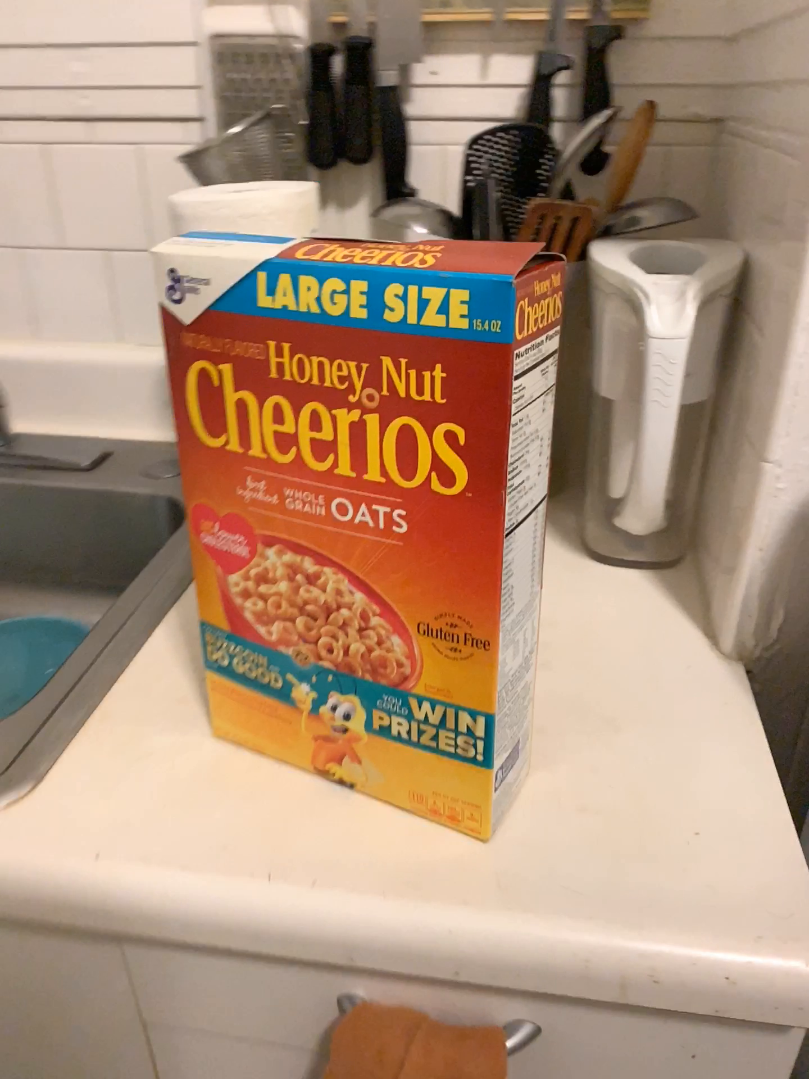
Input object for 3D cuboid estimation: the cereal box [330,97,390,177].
[{"bbox_3d":[-0.546,-5.054,10.438,0.551,0.865,0.502,13,31,24],"label":"cereal box"}]
